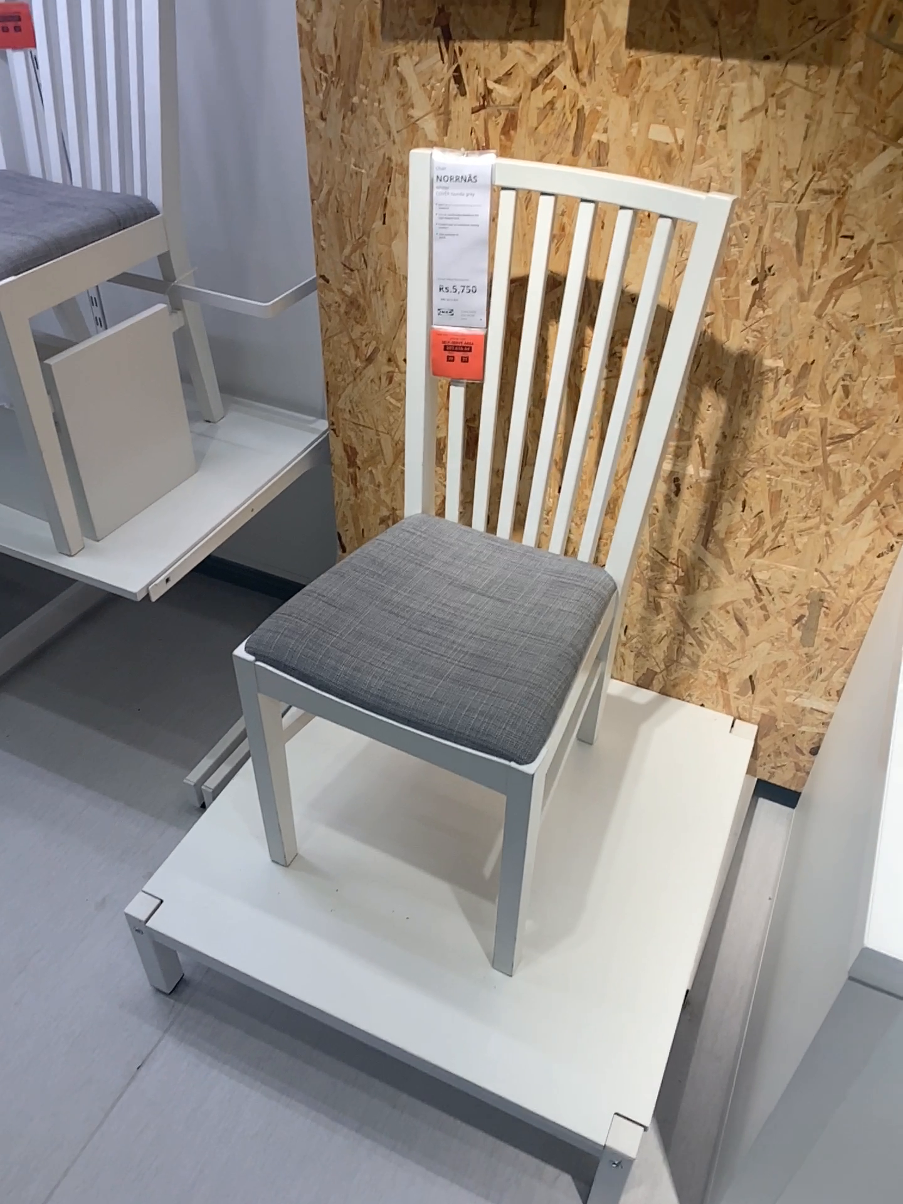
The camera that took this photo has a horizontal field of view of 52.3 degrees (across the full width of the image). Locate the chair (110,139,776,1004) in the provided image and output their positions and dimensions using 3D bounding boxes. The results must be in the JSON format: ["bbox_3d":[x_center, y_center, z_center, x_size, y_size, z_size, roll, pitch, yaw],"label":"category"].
[{"bbox_3d":[0.028,-0.041,1.240,0.471,0.896,0.592,19,43,20],"label":"chair"}]
